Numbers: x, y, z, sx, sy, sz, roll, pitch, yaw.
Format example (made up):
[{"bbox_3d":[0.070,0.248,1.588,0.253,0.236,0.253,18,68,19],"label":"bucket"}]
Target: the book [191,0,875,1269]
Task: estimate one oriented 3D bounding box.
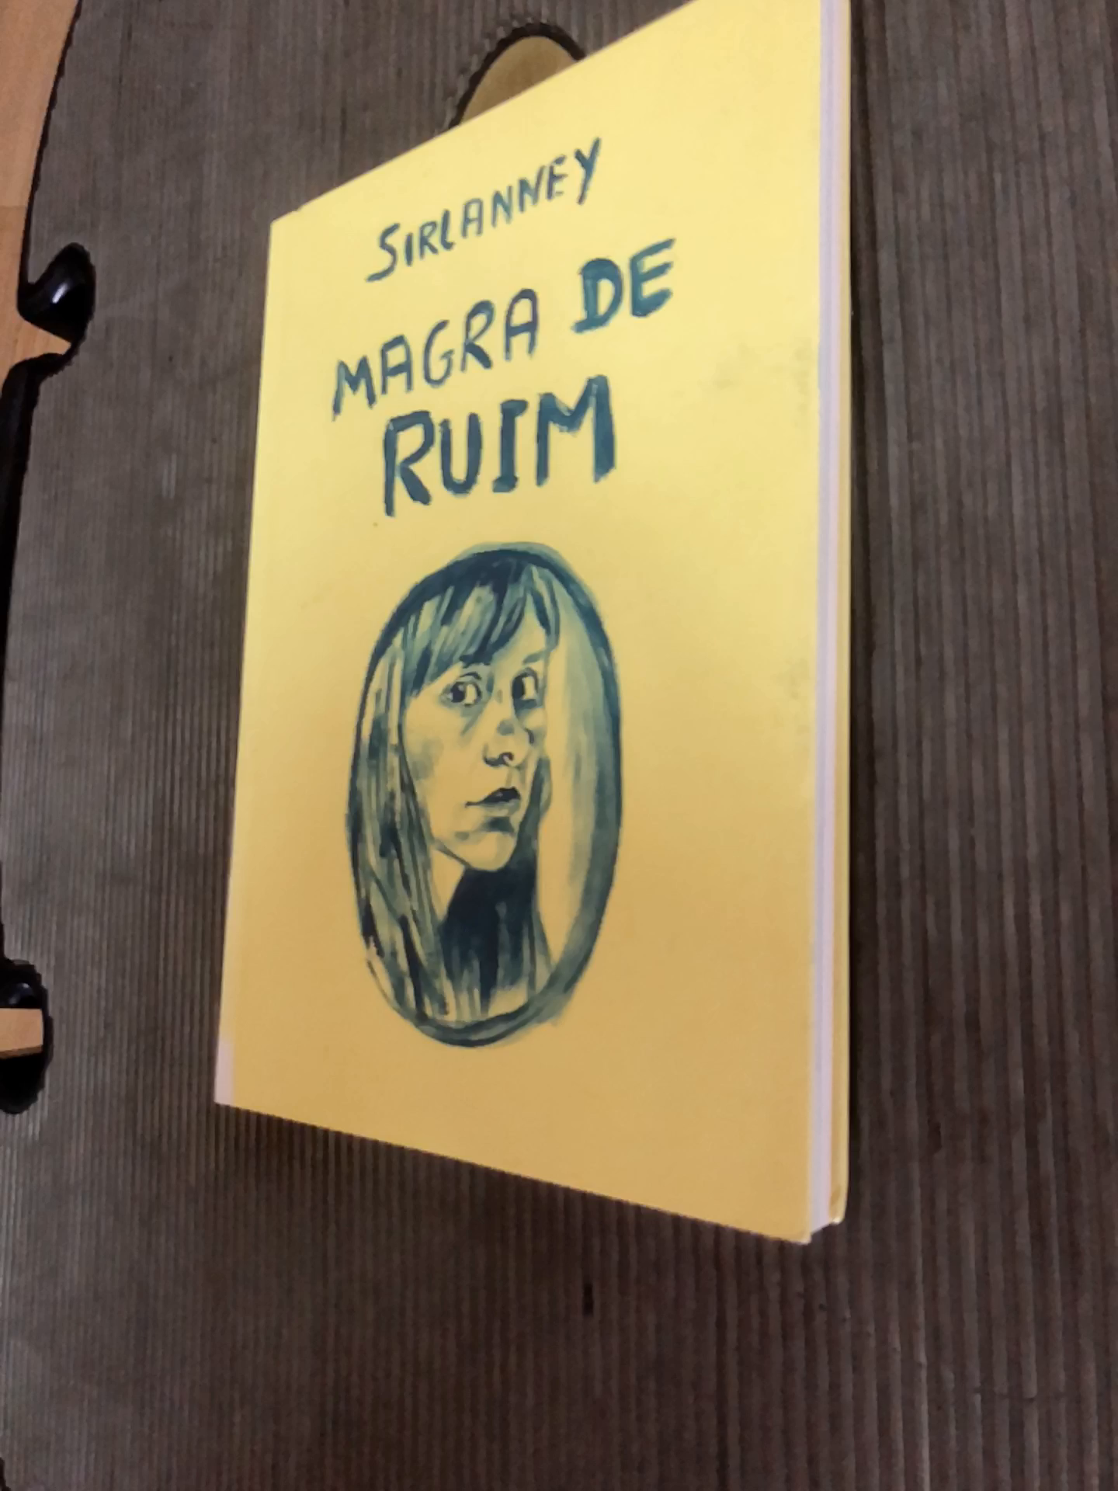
[{"bbox_3d":[-0.014,-0.028,0.240,0.151,0.020,0.210,-3,83,41],"label":"book"}]
